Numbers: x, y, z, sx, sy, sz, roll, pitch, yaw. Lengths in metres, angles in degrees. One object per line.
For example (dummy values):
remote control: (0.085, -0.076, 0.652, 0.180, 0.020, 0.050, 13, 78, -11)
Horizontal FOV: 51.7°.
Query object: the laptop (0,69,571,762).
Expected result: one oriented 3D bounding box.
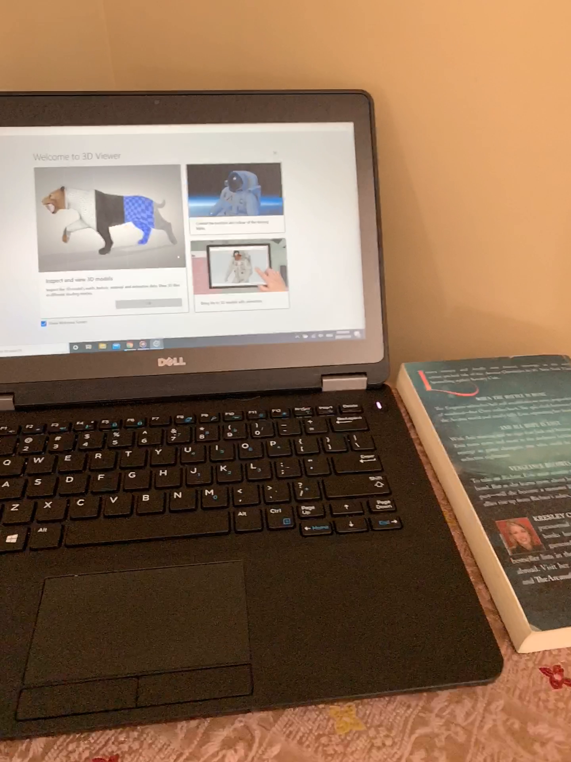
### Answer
laptop: (-0.086, -0.047, 0.399, 0.366, 0.186, 0.424, -4, 41, -6)
